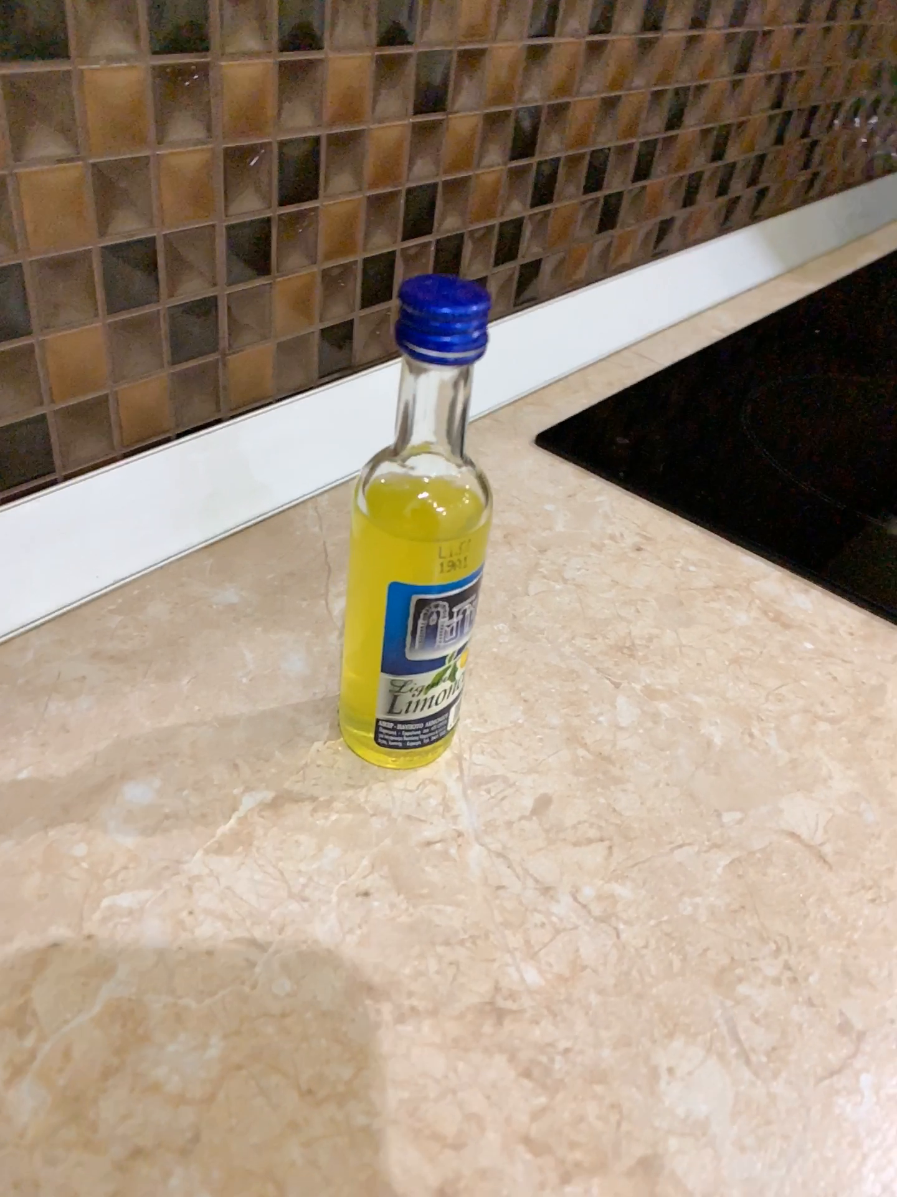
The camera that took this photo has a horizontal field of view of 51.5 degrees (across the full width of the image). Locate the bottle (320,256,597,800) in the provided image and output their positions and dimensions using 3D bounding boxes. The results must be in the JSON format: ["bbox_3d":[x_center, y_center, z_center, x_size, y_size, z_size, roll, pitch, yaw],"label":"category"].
[{"bbox_3d":[-0.002,-0.011,0.218,0.033,0.119,0.039,32,44,26],"label":"bottle"}]
